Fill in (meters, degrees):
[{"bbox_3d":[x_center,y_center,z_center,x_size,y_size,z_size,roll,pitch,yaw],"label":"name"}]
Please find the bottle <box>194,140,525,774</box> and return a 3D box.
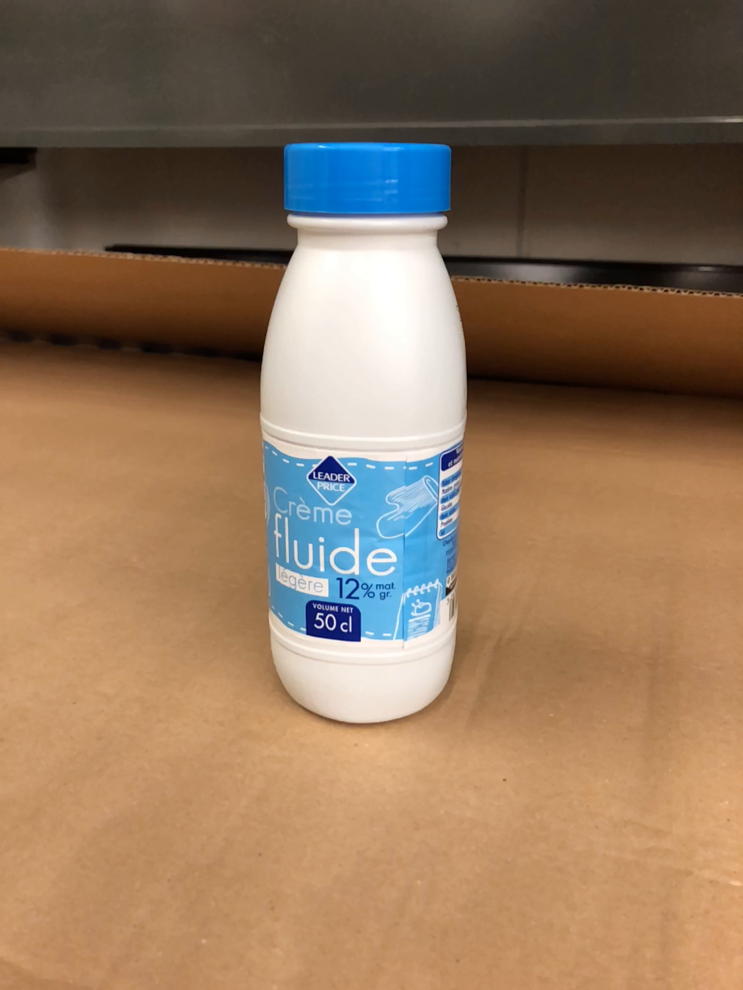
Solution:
[{"bbox_3d":[0.002,-0.016,0.278,0.080,0.189,0.080,0,21,0],"label":"bottle"}]
